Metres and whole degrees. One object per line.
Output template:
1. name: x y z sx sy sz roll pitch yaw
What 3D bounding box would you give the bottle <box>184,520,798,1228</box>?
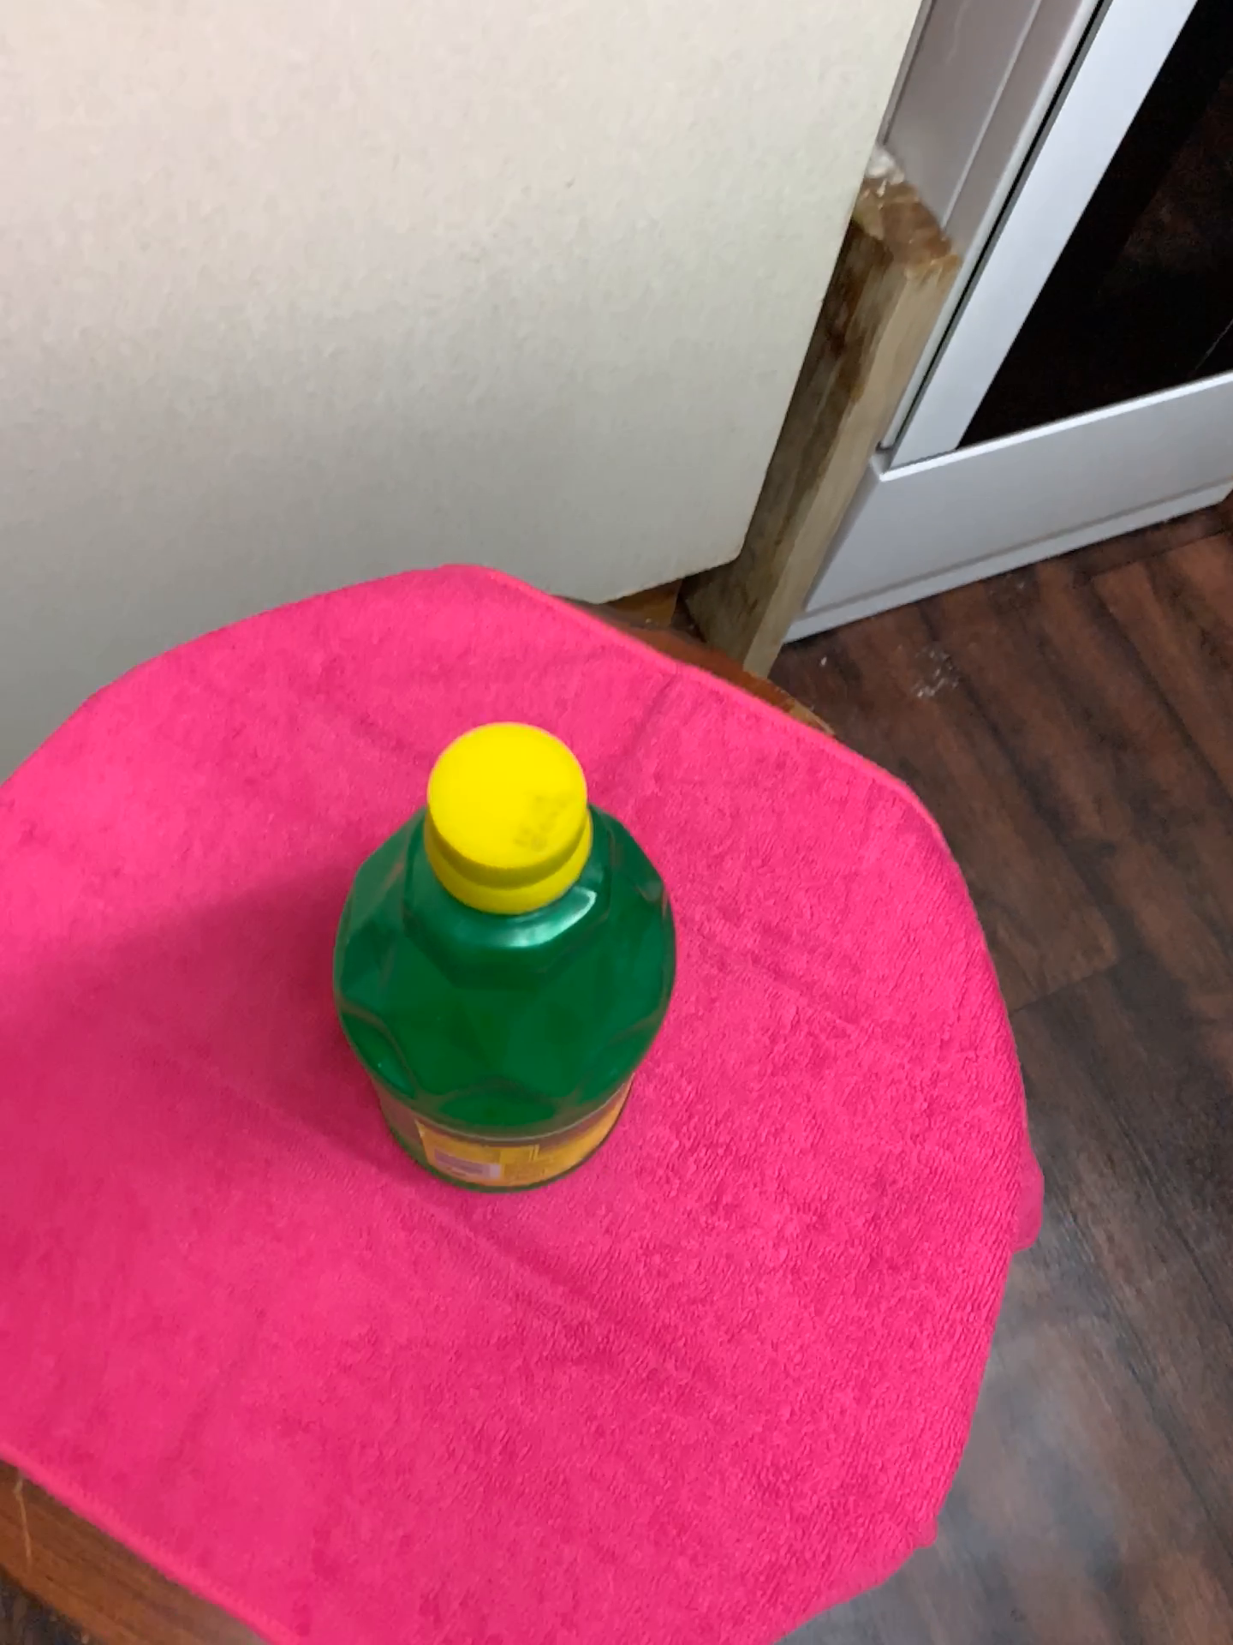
1. bottle: -0.029 0.038 0.339 0.090 0.229 0.101 14 67 0
